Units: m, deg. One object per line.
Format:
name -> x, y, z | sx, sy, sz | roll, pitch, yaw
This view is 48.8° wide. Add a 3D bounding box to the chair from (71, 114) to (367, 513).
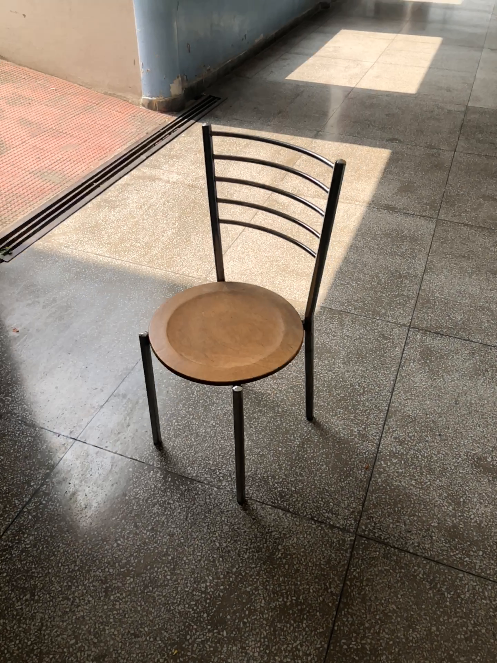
chair -> -0.053, -0.035, 1.341 | 0.421, 0.777, 0.421 | 26, 46, 27
